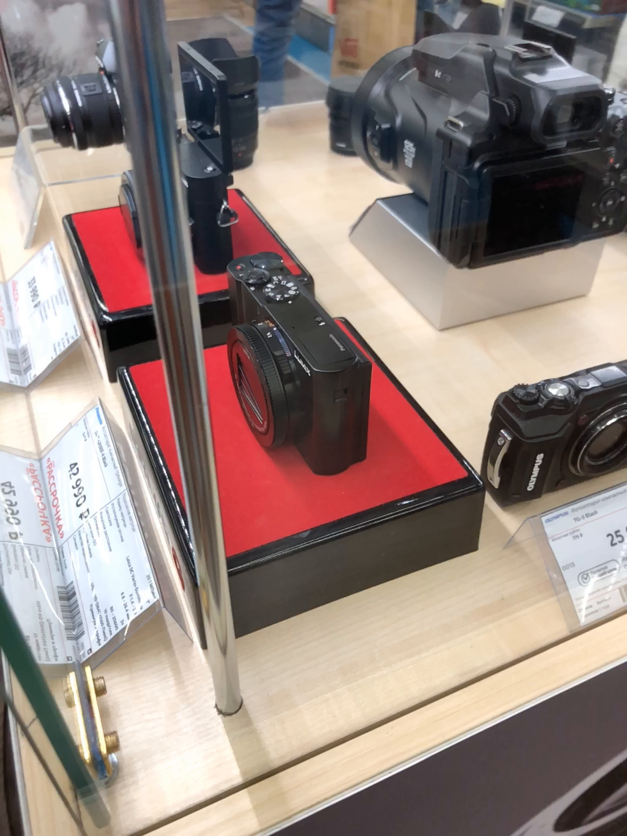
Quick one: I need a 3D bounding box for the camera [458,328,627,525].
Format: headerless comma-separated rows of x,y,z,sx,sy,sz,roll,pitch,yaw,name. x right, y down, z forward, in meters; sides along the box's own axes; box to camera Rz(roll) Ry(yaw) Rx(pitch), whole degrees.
0.136,0.004,0.356,0.110,0.072,0.033,-14,43,-17,camera

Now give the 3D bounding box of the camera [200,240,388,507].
-0.013,-0.025,0.329,0.040,0.070,0.110,-17,44,-20,camera

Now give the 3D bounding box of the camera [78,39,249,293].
-0.093,-0.161,0.437,0.066,0.112,0.111,-16,43,-19,camera
